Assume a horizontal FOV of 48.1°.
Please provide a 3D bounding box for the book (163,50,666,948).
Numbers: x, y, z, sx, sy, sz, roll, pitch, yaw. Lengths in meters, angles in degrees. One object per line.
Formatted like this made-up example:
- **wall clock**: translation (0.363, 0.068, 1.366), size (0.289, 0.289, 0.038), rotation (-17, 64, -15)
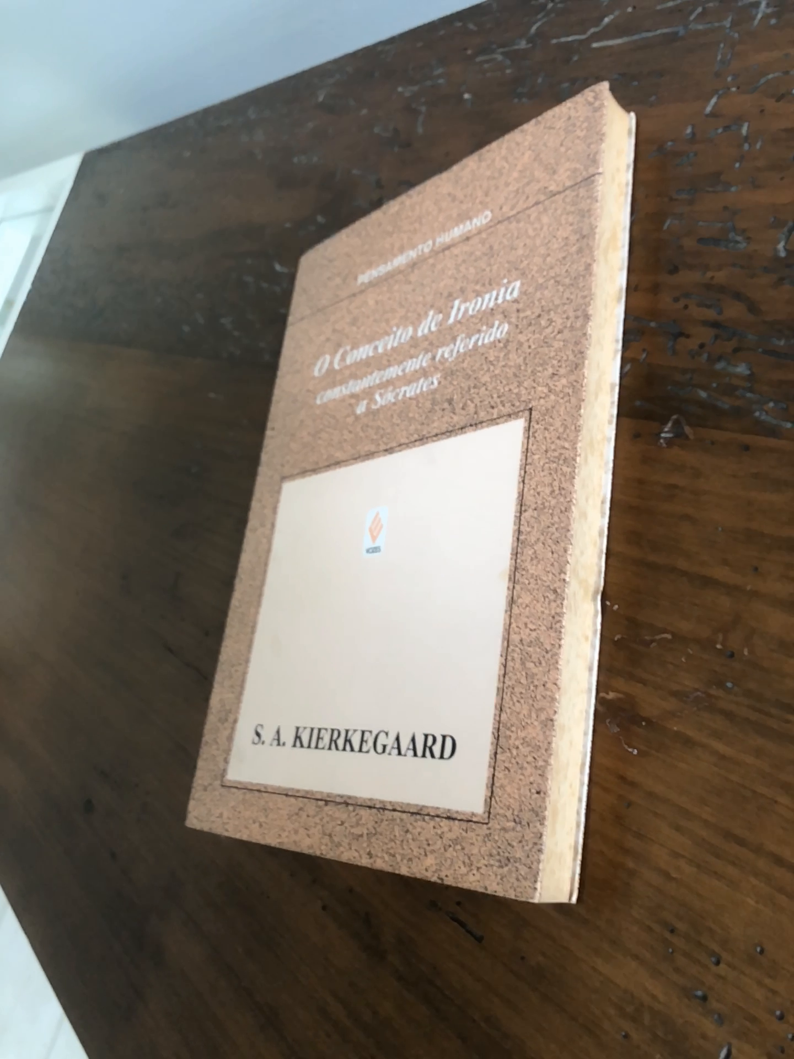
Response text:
- **book**: translation (0.002, -0.012, 0.264), size (0.145, 0.024, 0.220), rotation (-10, 65, 46)
